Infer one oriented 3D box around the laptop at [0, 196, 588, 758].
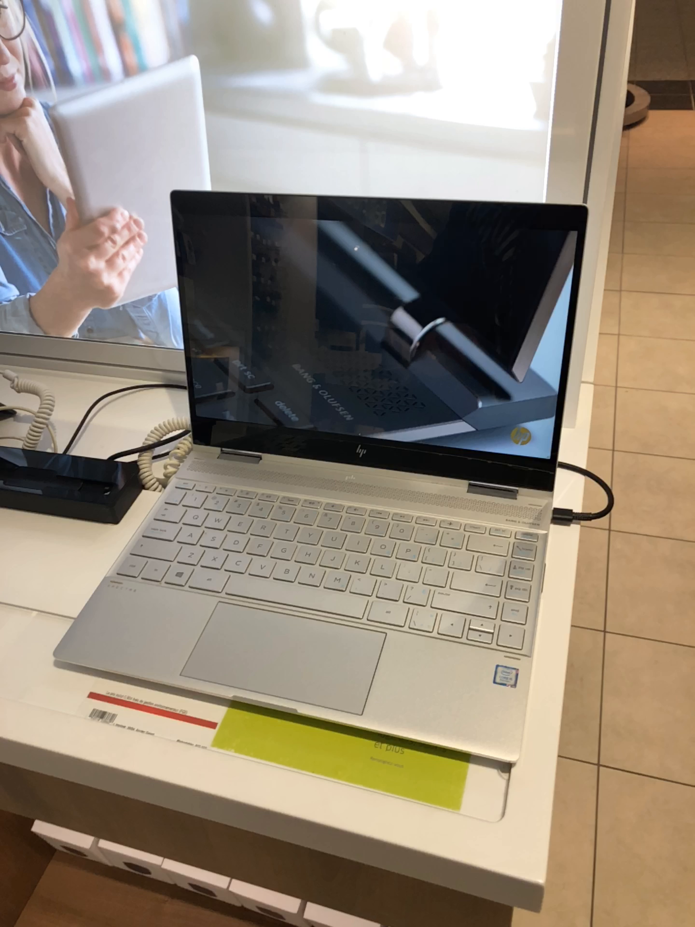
[{"bbox_3d":[-0.019,-0.021,0.500,0.299,0.193,0.283,7,42,16],"label":"laptop"}]
